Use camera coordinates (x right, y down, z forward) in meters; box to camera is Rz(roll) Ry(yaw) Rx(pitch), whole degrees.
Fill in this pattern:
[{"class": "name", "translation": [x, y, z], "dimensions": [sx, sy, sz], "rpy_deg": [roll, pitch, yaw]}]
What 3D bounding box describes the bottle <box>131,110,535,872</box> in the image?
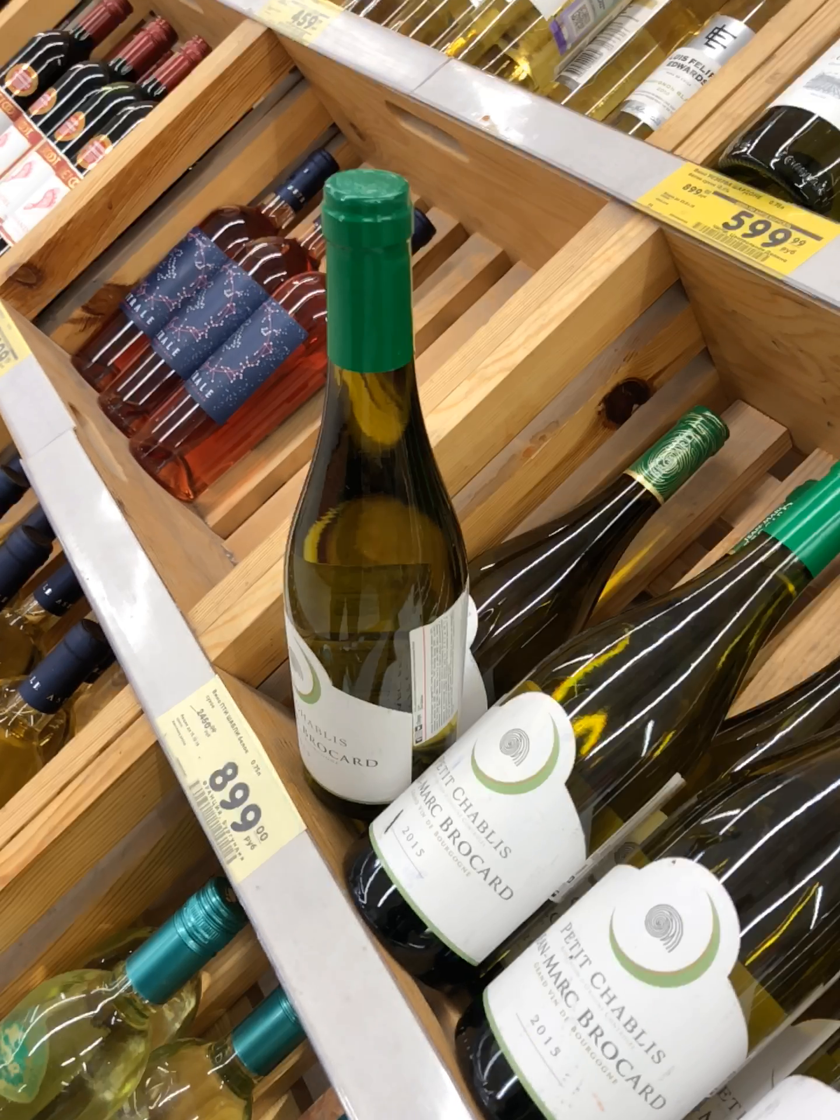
[{"class": "bottle", "translation": [-0.029, -0.006, 0.367], "dimensions": [0.090, 0.288, 0.090], "rpy_deg": [0, 42, 0]}]
